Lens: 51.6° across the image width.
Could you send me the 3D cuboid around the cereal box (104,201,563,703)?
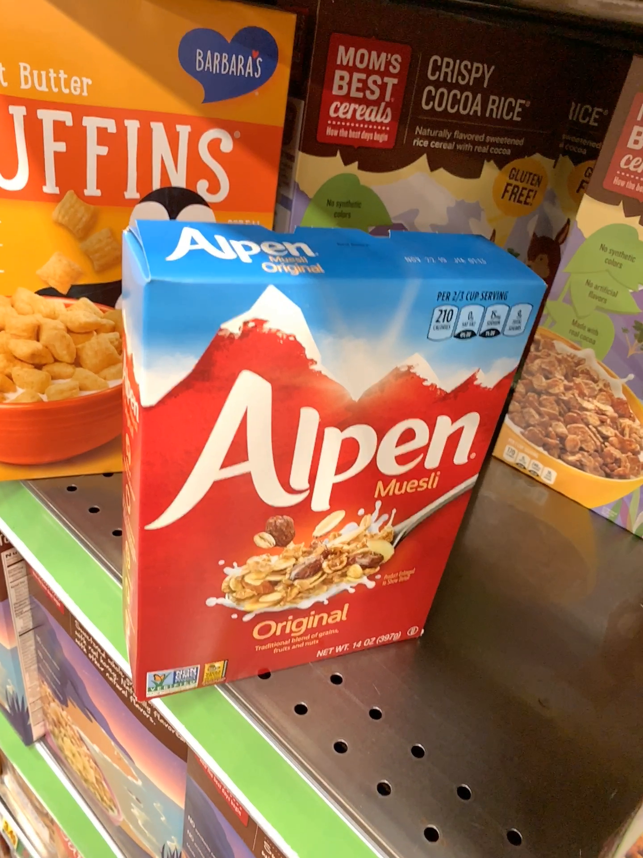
[{"bbox_3d":[-0.007,0.018,0.288,0.160,0.209,0.040,-5,35,-23],"label":"cereal box"}]
